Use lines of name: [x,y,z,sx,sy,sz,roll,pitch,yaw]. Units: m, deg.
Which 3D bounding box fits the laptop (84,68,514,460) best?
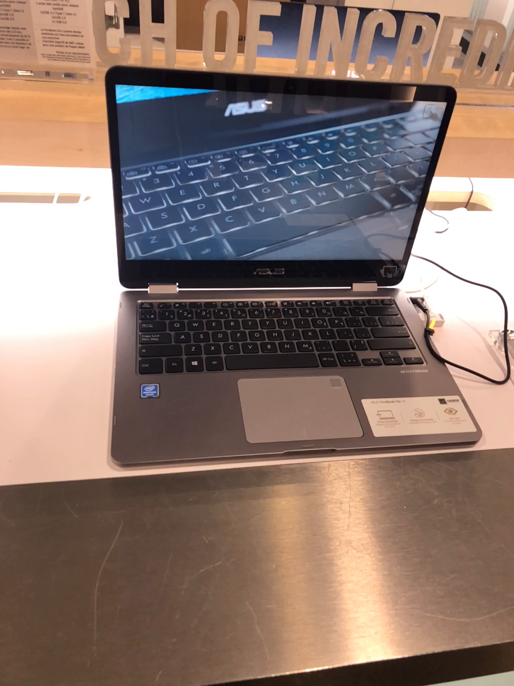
laptop: [0.037,-0.065,0.454,0.303,0.210,0.211,-1,43,-10]
